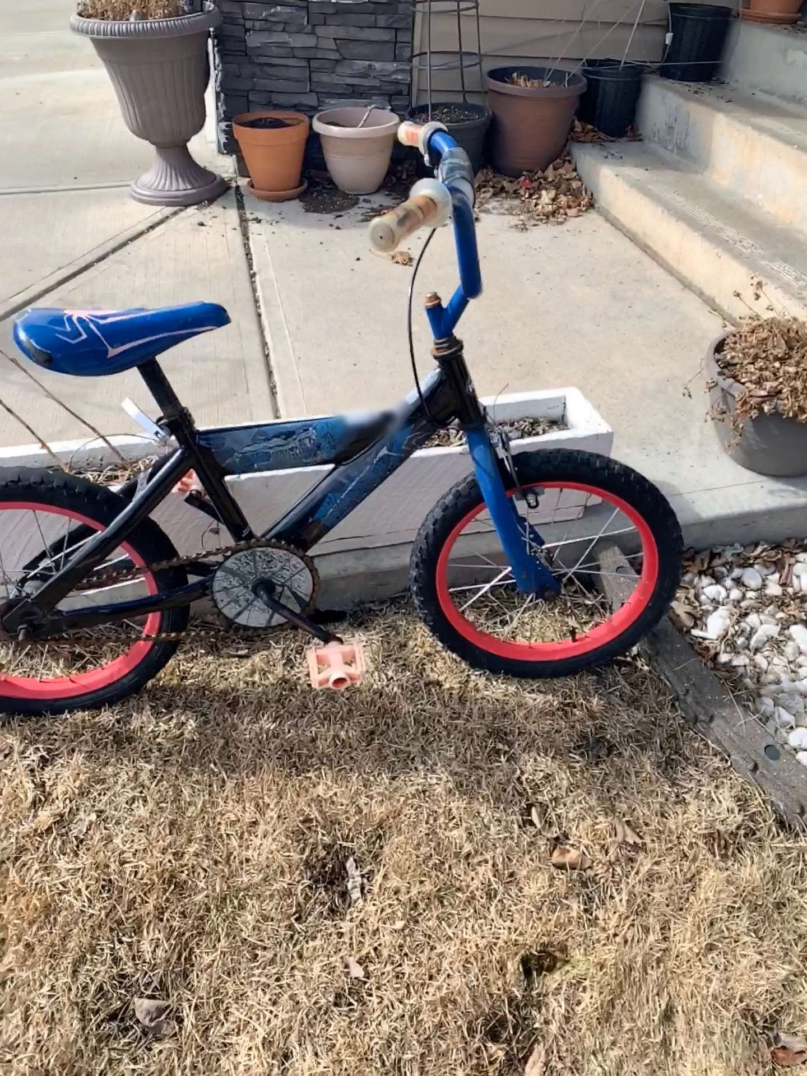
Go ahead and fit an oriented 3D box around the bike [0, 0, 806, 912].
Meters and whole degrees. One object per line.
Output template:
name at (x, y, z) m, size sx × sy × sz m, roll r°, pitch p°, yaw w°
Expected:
bike at (-0.115, -0.080, 0.897) m, size 1.023 × 0.728 × 0.538 m, roll -4°, pitch 39°, yaw -3°
